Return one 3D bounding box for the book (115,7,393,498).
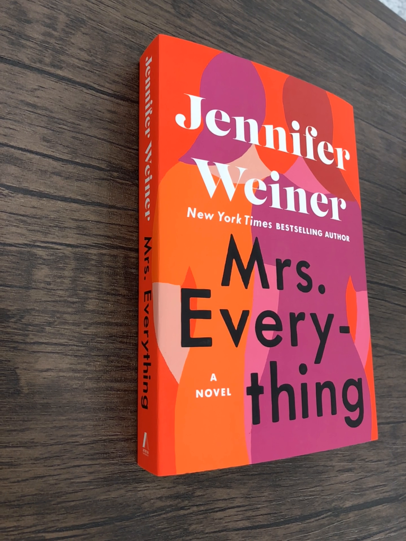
[{"bbox_3d":[0.035,-0.008,0.272,0.162,0.046,0.232,5,79,-32],"label":"book"}]
